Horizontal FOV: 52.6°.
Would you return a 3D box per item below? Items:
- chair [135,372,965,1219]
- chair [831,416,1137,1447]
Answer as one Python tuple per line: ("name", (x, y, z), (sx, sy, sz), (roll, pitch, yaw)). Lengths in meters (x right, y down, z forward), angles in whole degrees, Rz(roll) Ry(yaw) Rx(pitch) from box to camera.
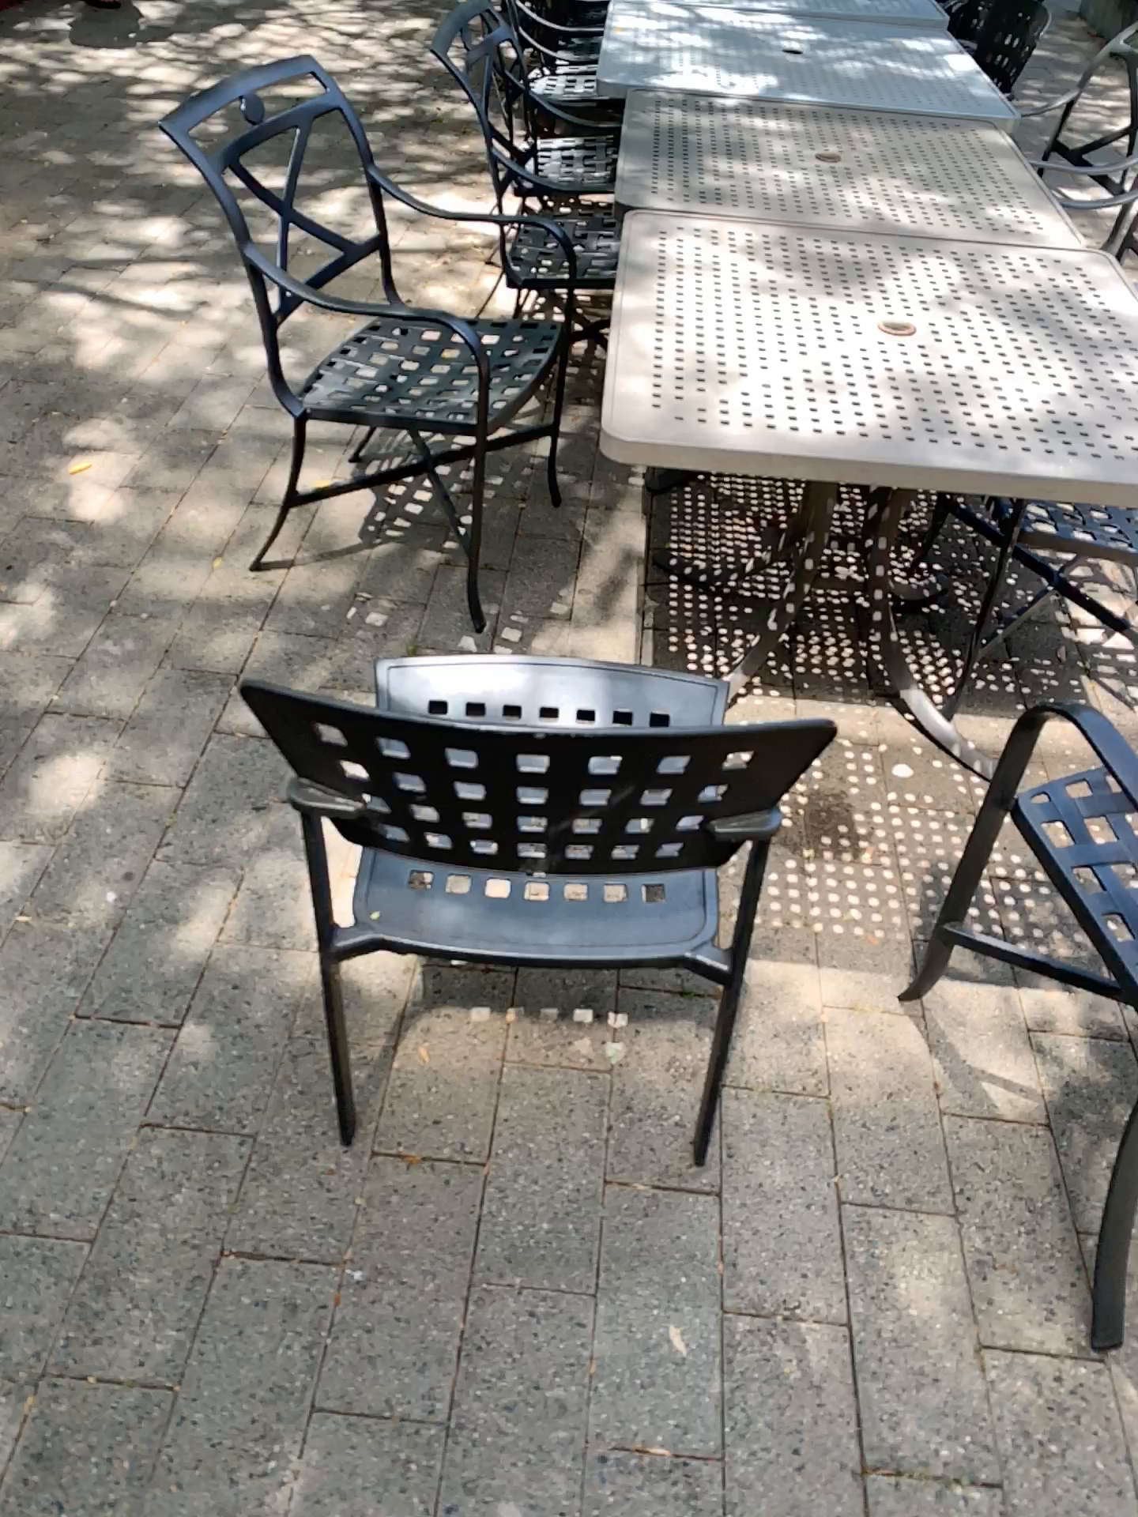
("chair", (-0.028, 0.046, 1.338), (0.620, 0.706, 0.654), (2, 43, -2))
("chair", (0.781, 0.165, 1.226), (0.620, 0.756, 0.654), (-9, 44, -14))
